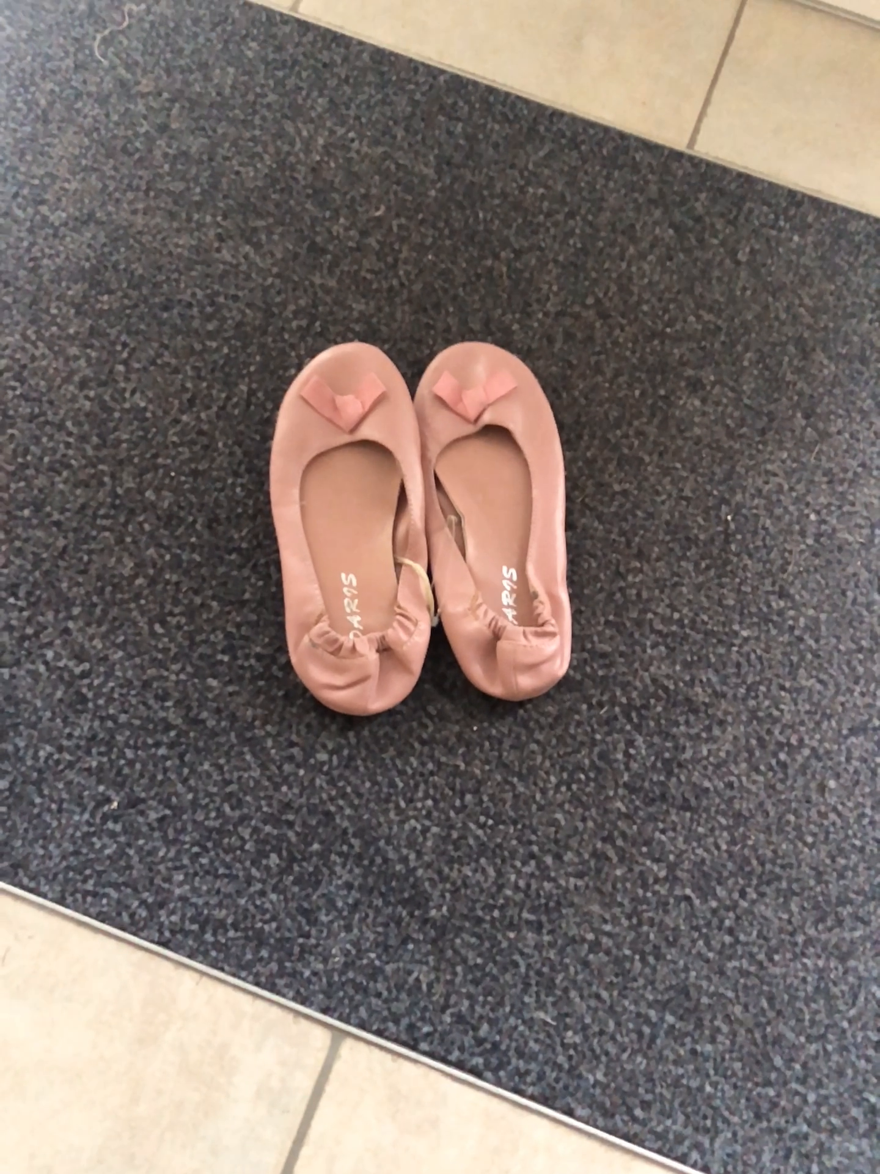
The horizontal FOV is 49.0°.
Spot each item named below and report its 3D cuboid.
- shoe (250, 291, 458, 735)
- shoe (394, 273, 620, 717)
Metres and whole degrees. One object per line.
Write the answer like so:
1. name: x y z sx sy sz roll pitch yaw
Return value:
1. shoe: -0.051 -0.041 0.565 0.090 0.100 0.230 -6 72 -4
2. shoe: 0.030 -0.052 0.565 0.090 0.100 0.230 -6 72 -4
